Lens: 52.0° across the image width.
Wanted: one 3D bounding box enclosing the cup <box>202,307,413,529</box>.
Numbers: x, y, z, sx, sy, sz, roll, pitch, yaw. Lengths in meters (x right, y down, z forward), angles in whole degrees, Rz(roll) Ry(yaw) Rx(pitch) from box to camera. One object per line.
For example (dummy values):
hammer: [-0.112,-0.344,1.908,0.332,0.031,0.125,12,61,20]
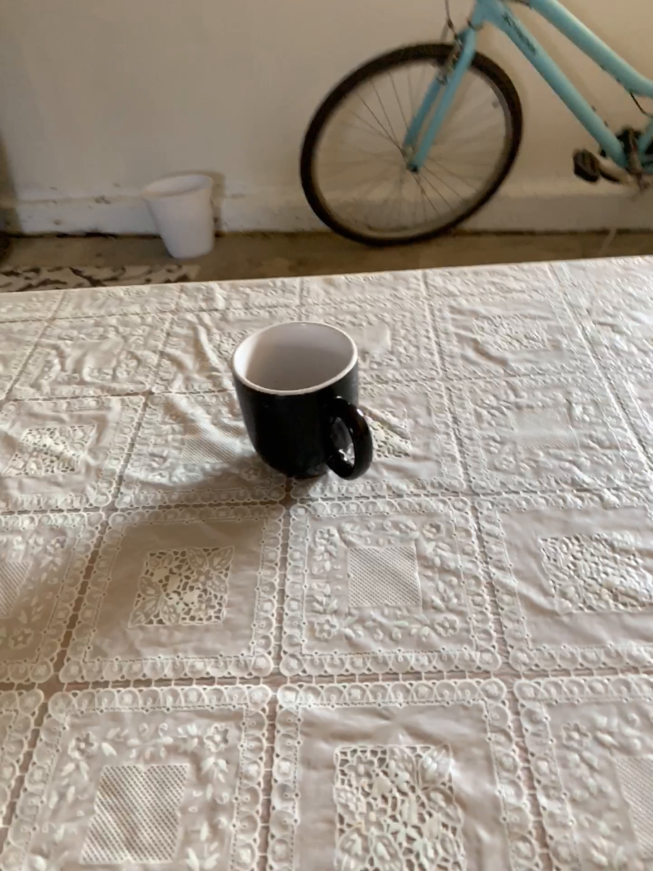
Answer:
cup: [-0.013,-0.018,0.507,0.090,0.090,0.131,-30,45,-25]
